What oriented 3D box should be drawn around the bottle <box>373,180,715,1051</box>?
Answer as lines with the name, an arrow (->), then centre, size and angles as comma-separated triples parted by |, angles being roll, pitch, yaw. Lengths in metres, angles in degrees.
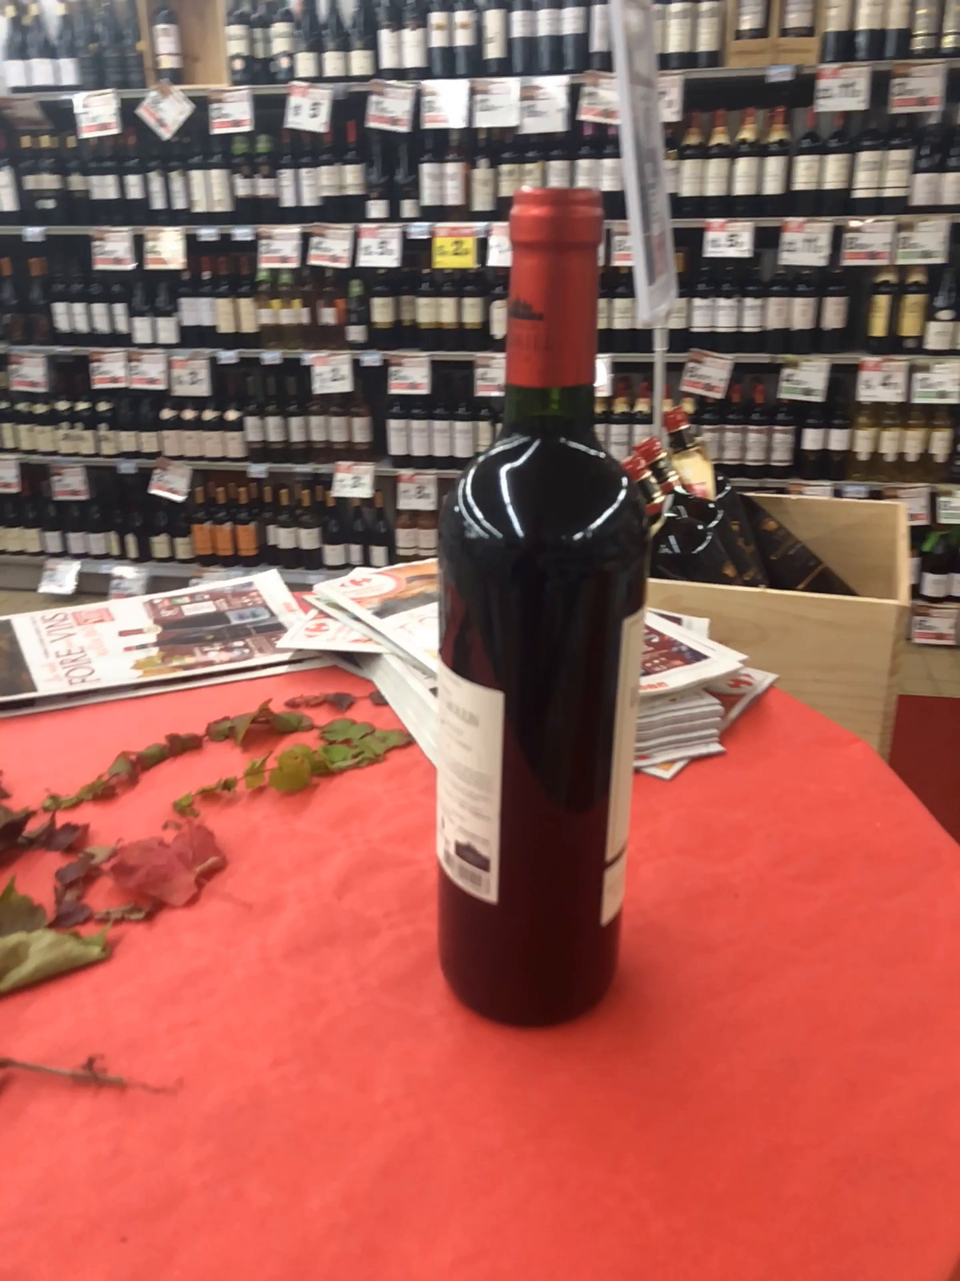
bottle -> 0.020, -0.006, 0.385 | 0.080, 0.298, 0.080 | -1, 22, 0
